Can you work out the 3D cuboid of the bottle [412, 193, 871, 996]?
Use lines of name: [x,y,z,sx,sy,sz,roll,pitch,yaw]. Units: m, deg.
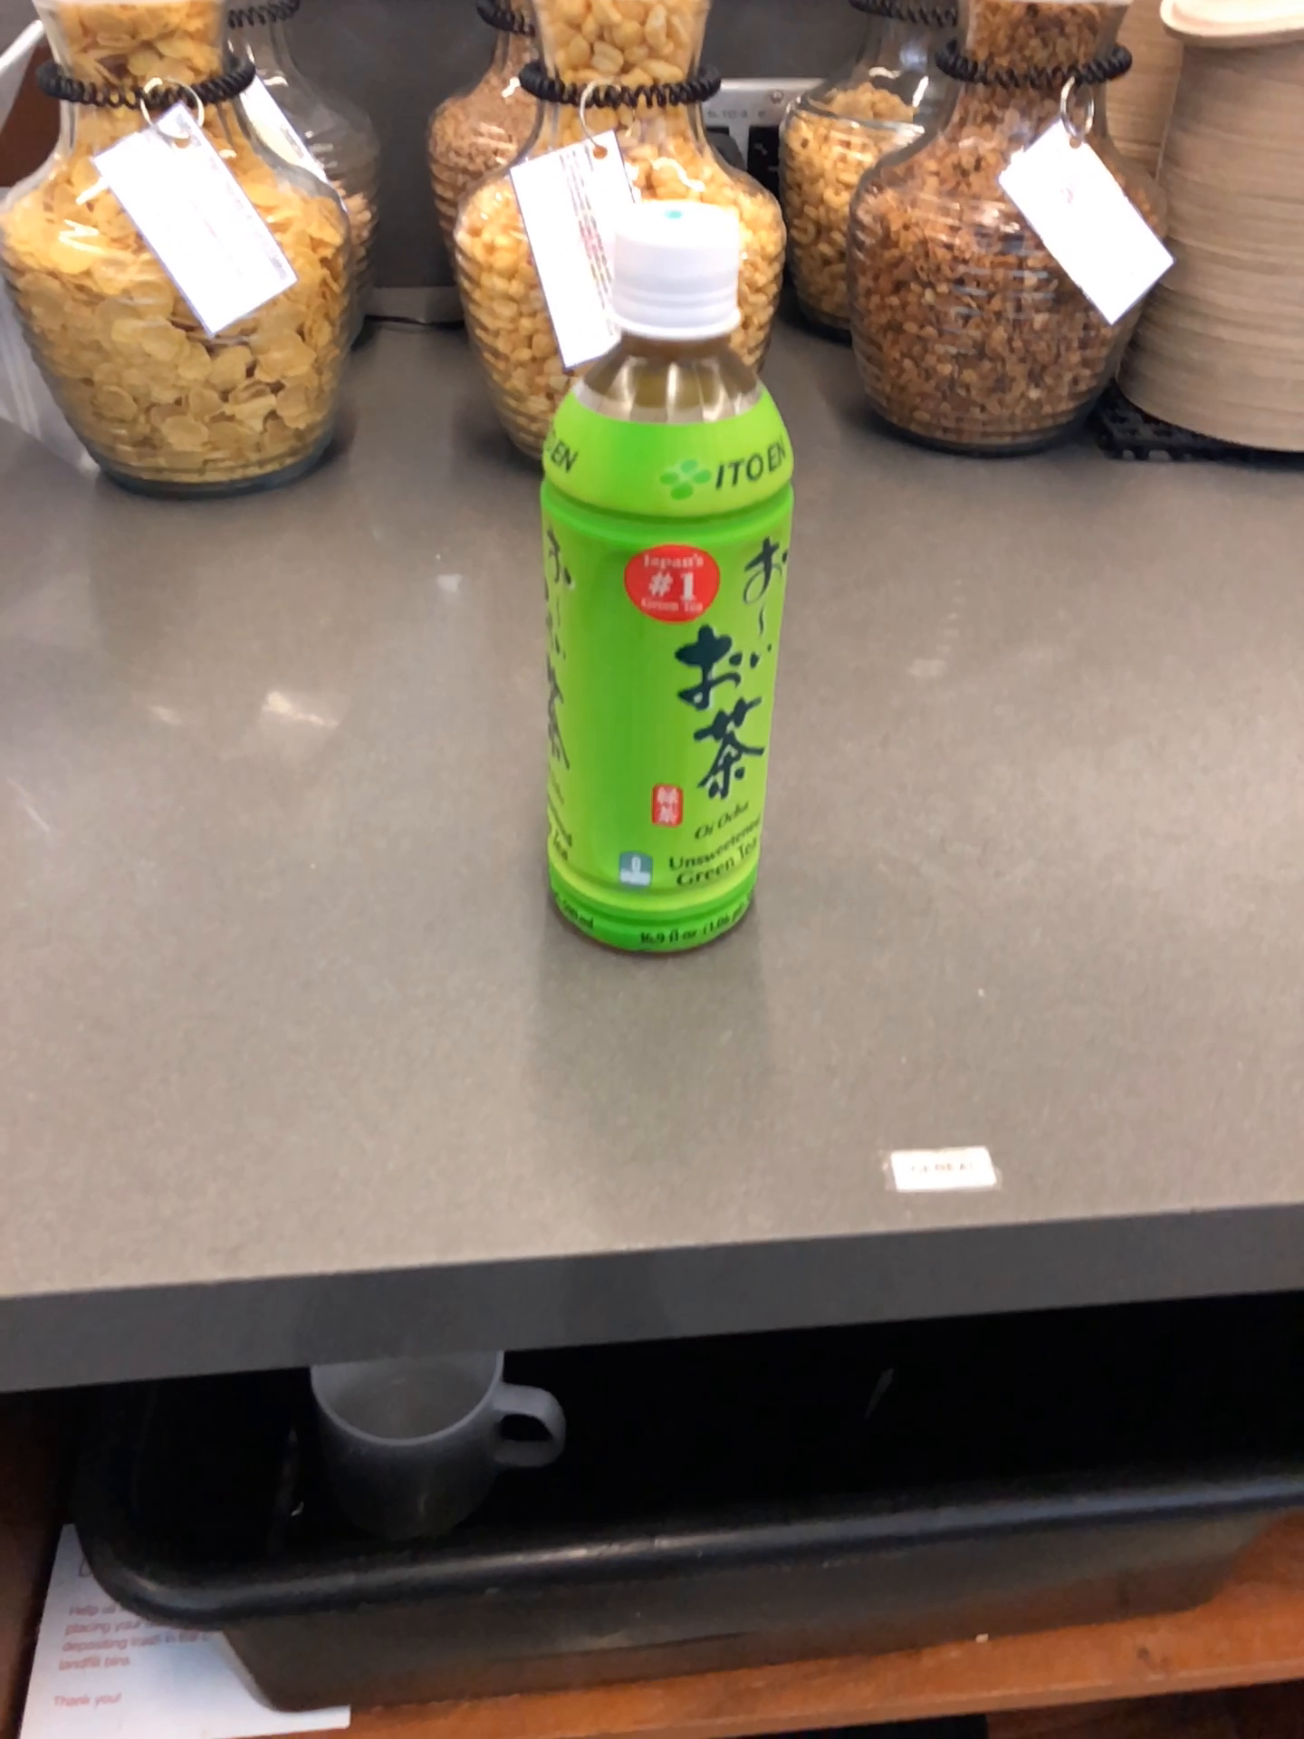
bottle: [-0.002,-0.072,0.399,0.080,0.189,0.080,1,38,-1]
